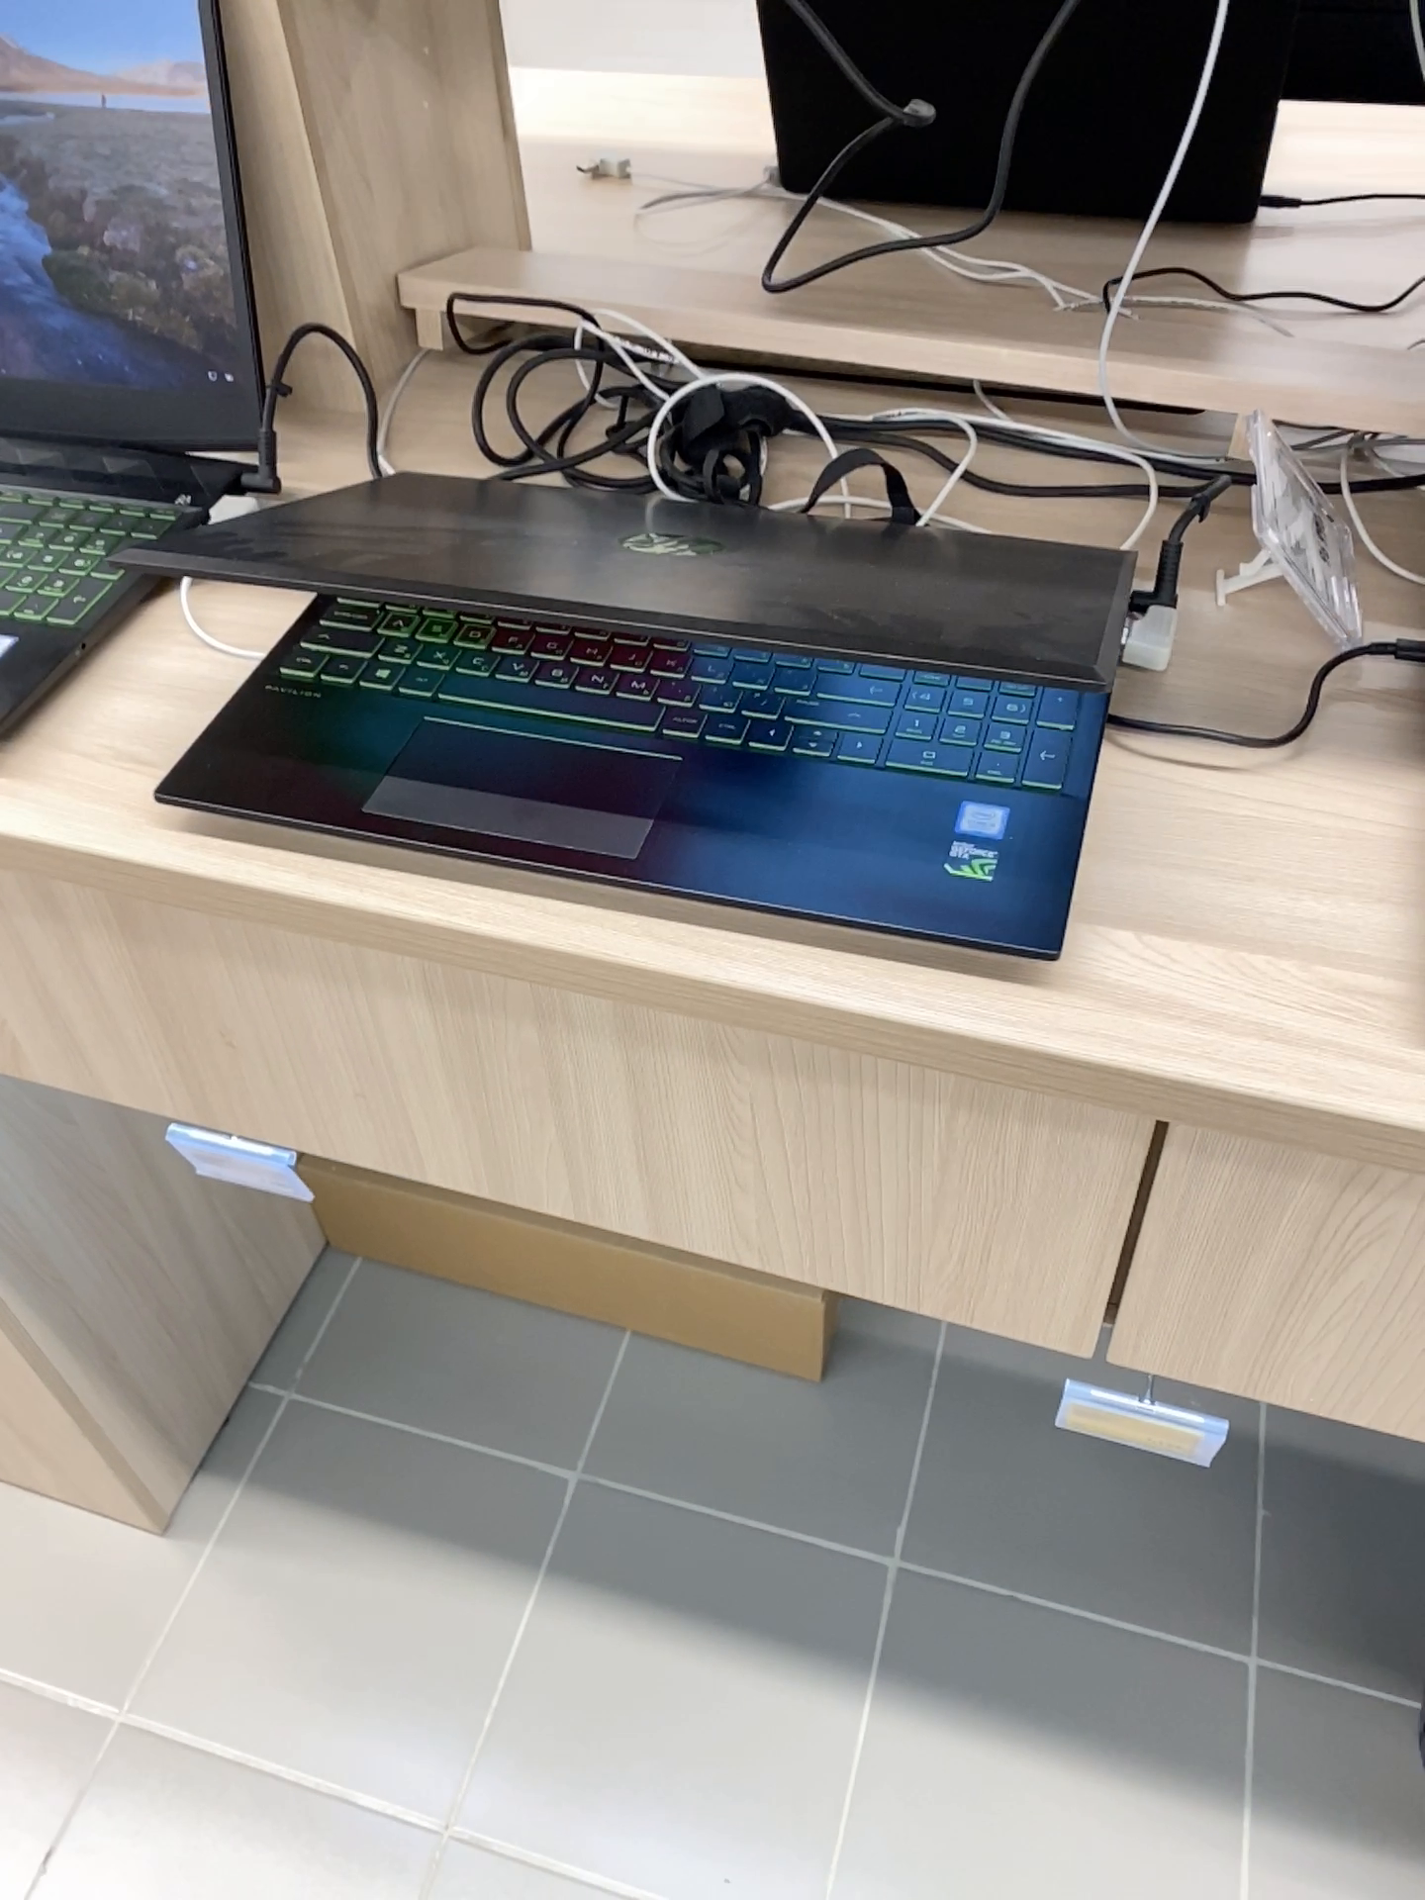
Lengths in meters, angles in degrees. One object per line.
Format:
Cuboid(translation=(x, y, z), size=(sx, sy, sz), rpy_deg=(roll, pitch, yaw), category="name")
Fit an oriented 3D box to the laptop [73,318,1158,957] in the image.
Cuboid(translation=(-0.020, -0.147, 0.595), size=(0.361, 0.092, 0.243), rpy_deg=(10, 48, 12), category="laptop")
